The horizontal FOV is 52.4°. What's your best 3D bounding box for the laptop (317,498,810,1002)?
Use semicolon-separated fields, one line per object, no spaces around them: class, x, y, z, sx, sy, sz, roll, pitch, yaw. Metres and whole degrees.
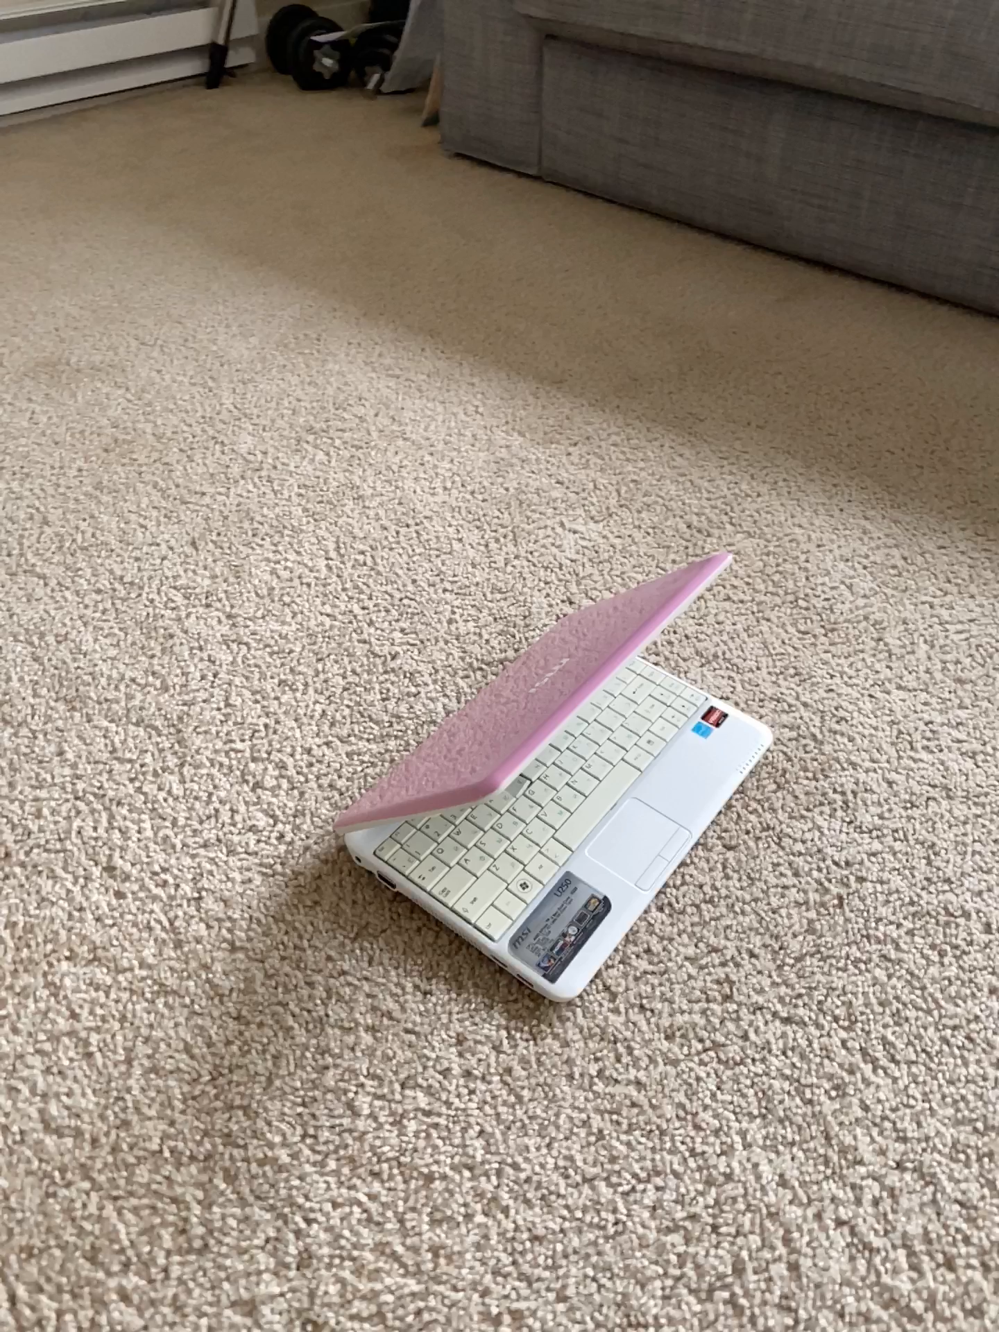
laptop;0.053;0.037;0.702;0.193;0.125;0.291;29;49;24
